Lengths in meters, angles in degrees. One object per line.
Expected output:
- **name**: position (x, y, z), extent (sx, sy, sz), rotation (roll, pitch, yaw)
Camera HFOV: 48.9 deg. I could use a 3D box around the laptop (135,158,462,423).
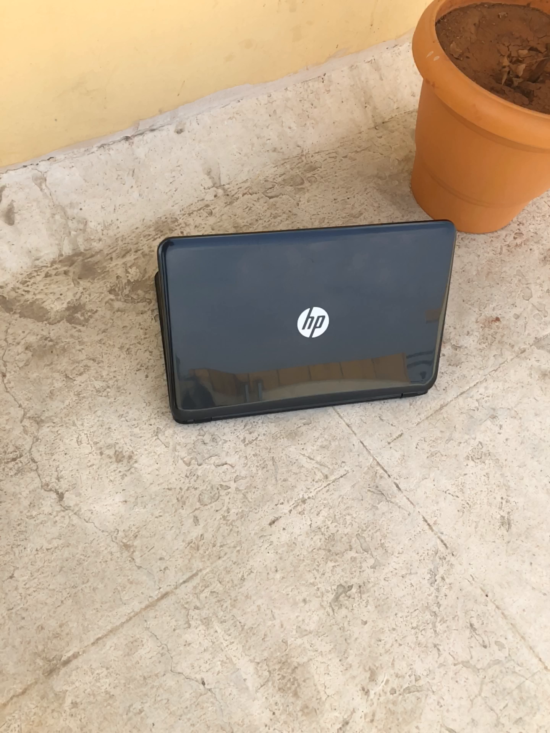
- **laptop**: position (0.014, -0.096, 0.767), extent (0.345, 0.189, 0.222), rotation (-6, 64, -12)
